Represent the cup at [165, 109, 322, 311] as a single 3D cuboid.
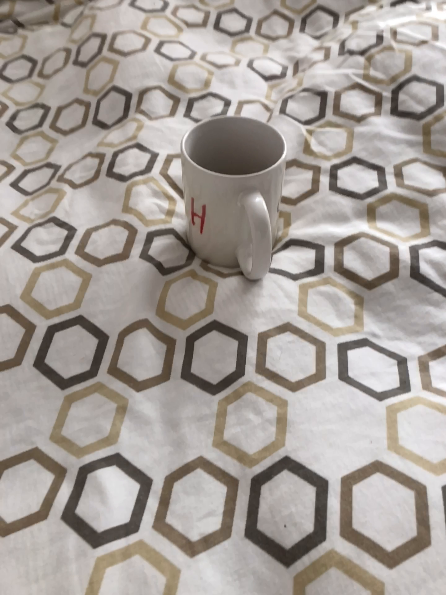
[{"bbox_3d":[0.010,-0.073,0.398,0.086,0.087,0.126,-11,54,-8],"label":"cup"}]
